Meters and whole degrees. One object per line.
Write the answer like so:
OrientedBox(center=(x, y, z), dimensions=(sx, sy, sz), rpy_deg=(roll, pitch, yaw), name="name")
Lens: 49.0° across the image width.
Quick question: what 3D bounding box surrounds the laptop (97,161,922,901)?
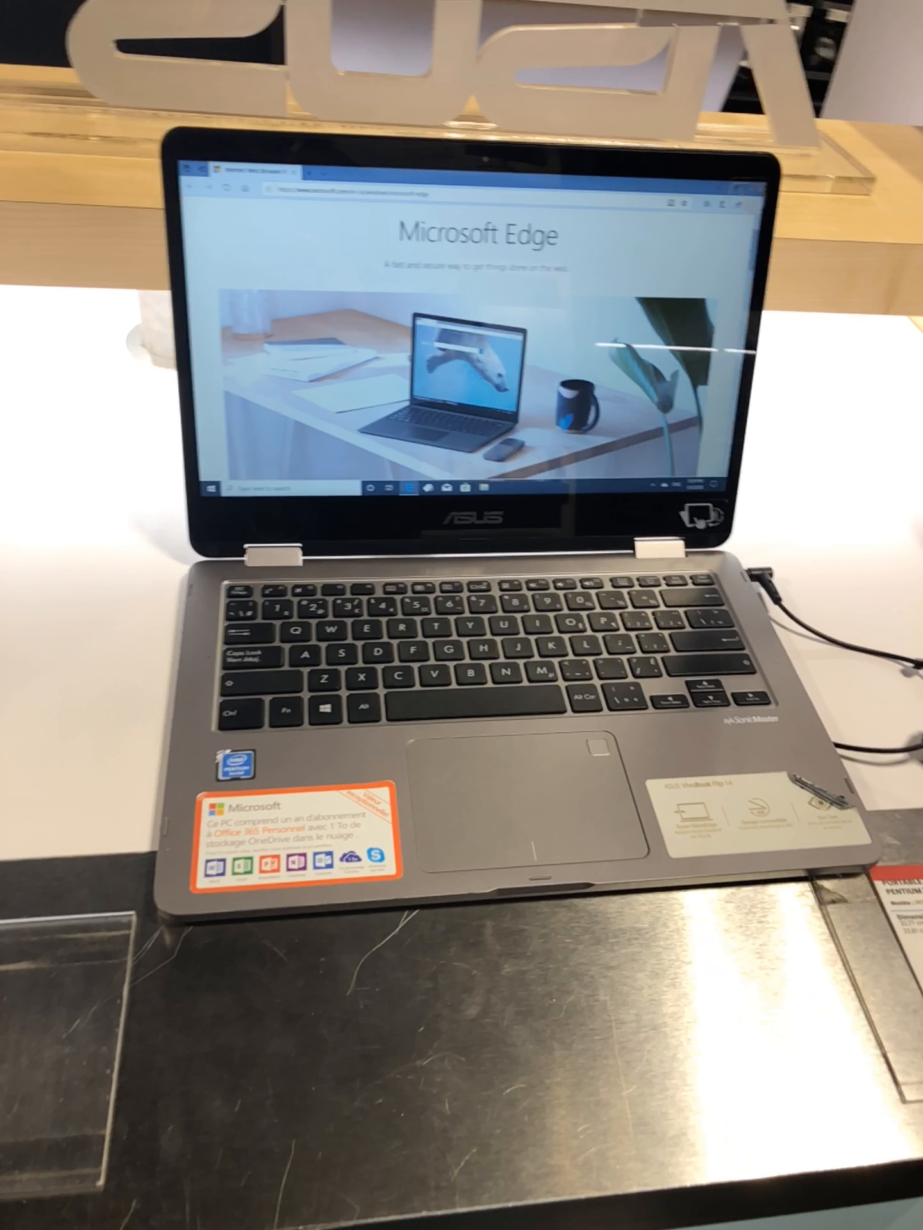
OrientedBox(center=(0.029, -0.055, 0.460), dimensions=(0.304, 0.212, 0.279), rpy_deg=(-1, 40, -7), name="laptop")
